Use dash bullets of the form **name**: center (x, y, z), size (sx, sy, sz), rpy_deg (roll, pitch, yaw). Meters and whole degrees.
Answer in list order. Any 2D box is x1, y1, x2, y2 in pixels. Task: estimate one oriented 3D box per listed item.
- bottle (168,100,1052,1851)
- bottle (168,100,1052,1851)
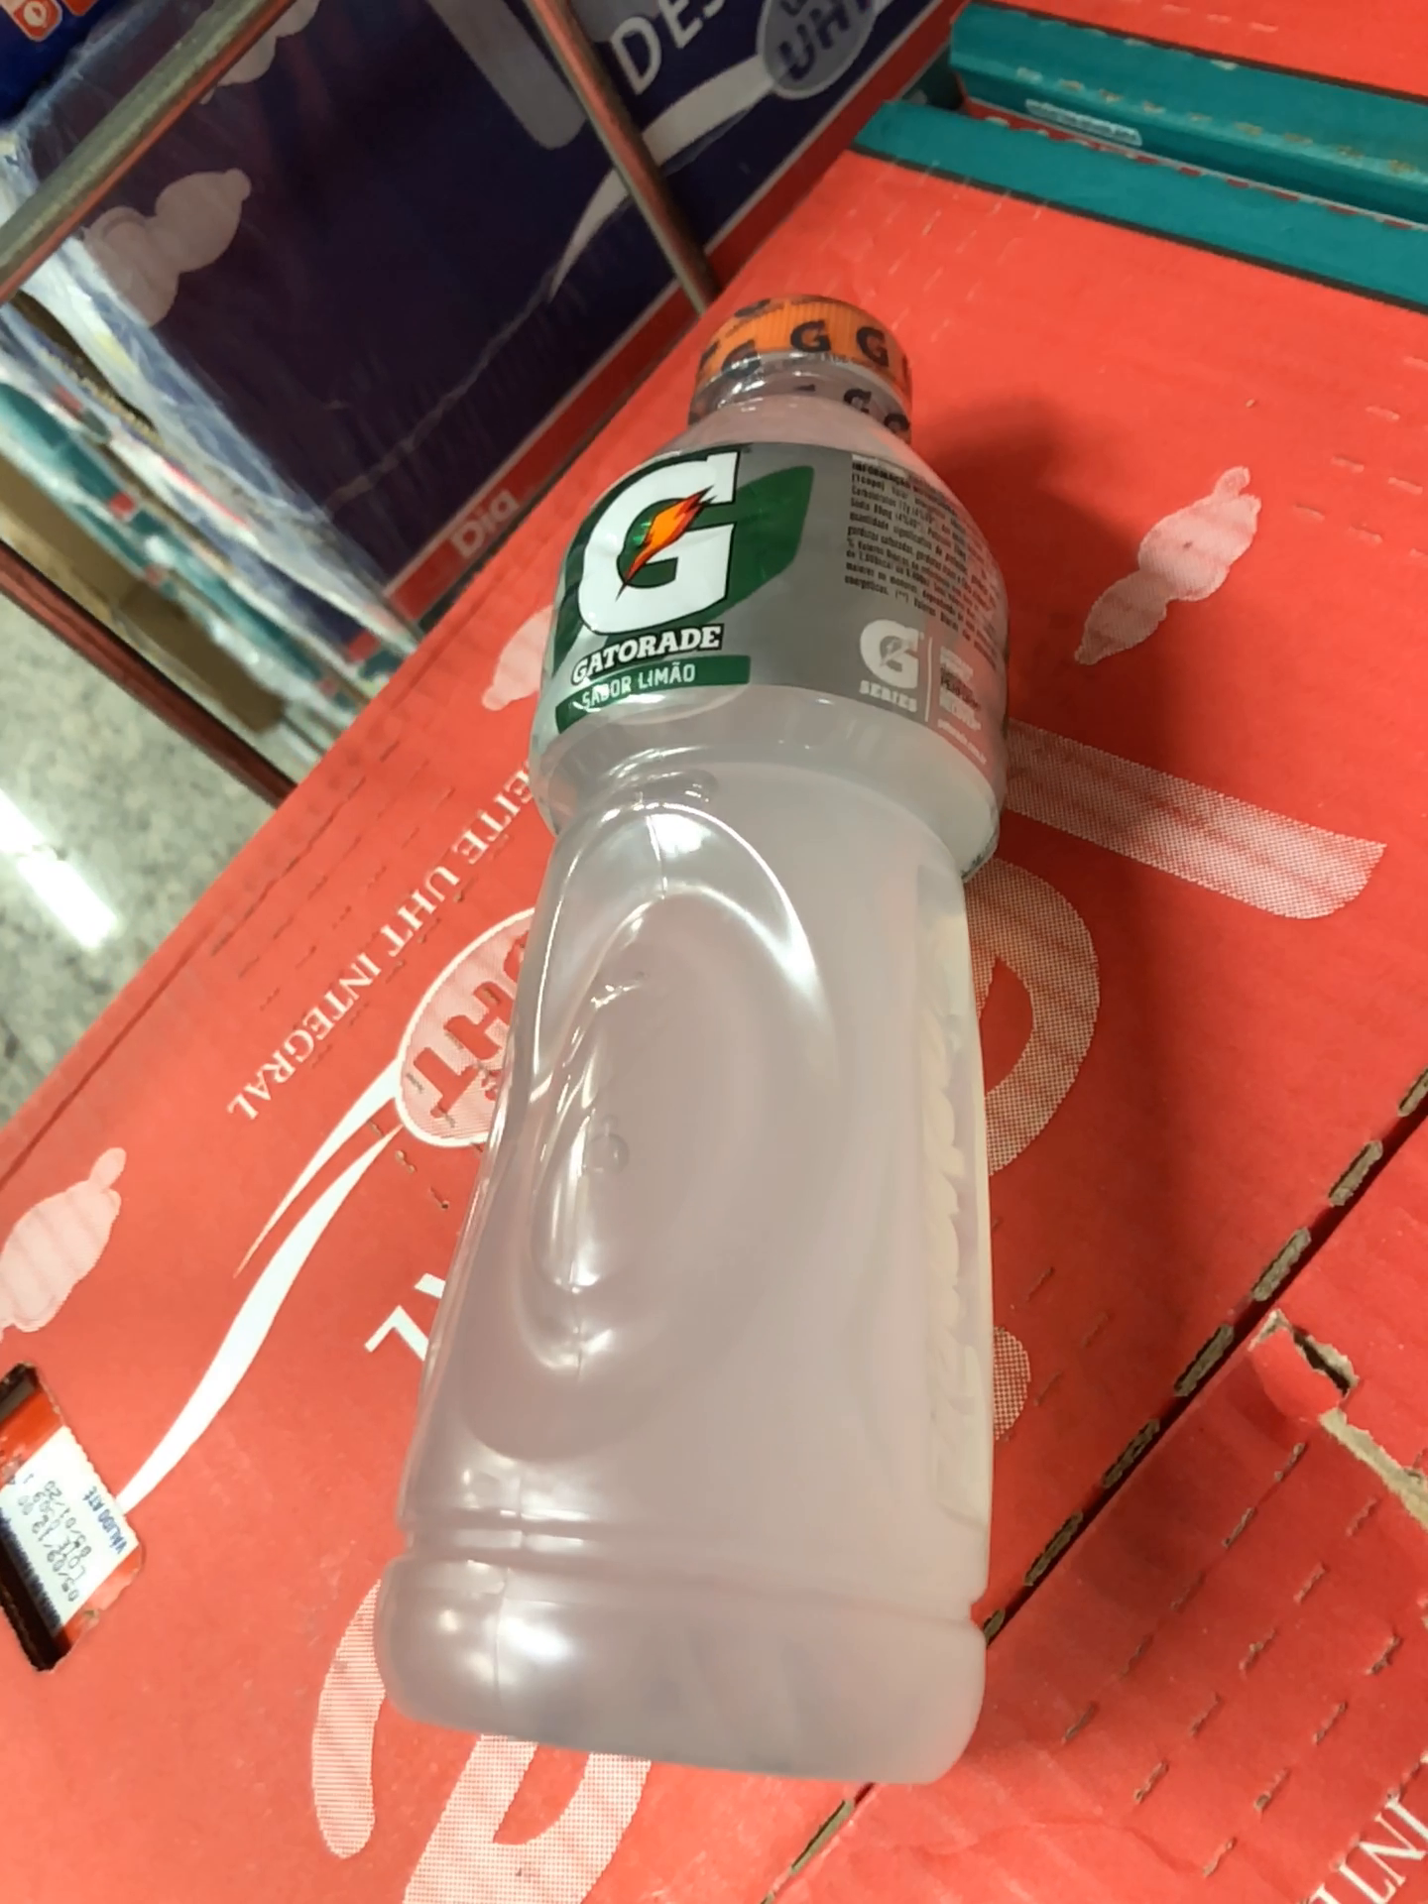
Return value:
- **bottle**: center (0.001, -0.006, 0.211), size (0.070, 0.060, 0.211), rpy_deg (-6, 61, 25)
- **bottle**: center (0.001, -0.006, 0.211), size (0.070, 0.060, 0.211), rpy_deg (-6, 61, 25)
